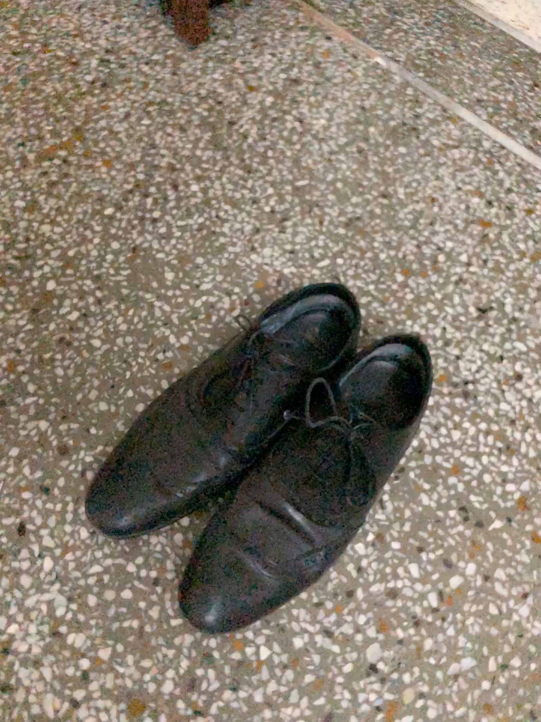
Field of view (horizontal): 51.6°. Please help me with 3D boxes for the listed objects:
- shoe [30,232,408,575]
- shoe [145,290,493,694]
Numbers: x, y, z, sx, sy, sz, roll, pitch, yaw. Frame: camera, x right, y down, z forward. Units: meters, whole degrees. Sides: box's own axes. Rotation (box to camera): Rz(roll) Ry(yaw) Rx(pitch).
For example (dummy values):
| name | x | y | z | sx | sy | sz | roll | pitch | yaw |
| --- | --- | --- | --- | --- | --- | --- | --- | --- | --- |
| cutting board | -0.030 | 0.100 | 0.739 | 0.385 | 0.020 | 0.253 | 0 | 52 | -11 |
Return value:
| name | x | y | z | sx | sy | sz | roll | pitch | yaw |
| --- | --- | --- | --- | --- | --- | --- | --- | --- | --- |
| shoe | -0.031 | 0.028 | 0.498 | 0.319 | 0.100 | 0.100 | -39 | 73 | -22 |
| shoe | 0.049 | 0.095 | 0.472 | 0.100 | 0.100 | 0.319 | 37 | 65 | 13 |
